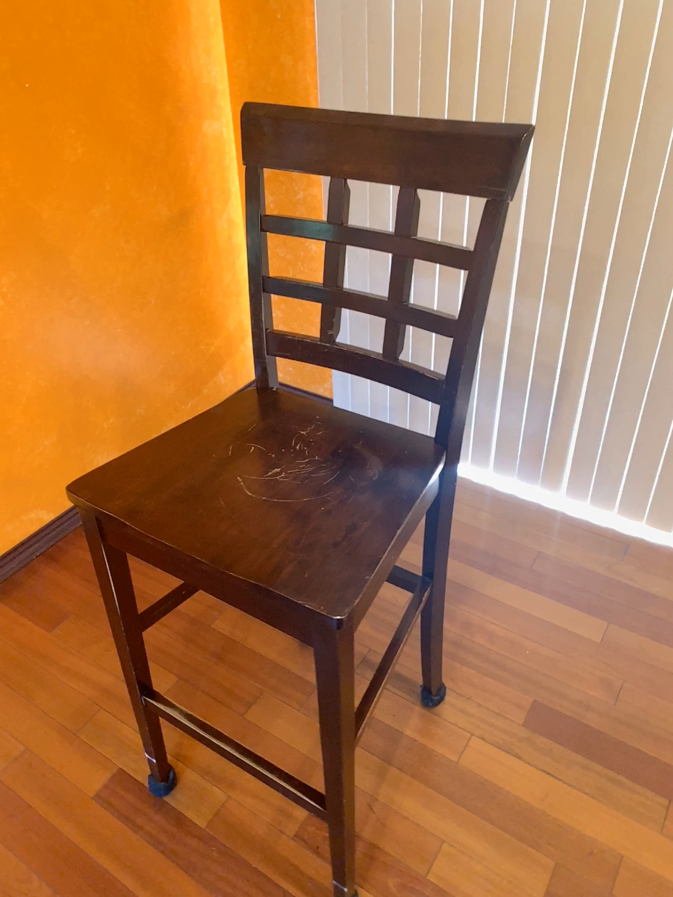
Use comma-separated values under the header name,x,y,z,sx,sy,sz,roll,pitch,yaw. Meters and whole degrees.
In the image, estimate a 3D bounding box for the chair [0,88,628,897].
name,x,y,z,sx,sy,sz,roll,pitch,yaw
chair,-0.043,0.088,0.991,0.543,0.986,0.584,19,39,27
